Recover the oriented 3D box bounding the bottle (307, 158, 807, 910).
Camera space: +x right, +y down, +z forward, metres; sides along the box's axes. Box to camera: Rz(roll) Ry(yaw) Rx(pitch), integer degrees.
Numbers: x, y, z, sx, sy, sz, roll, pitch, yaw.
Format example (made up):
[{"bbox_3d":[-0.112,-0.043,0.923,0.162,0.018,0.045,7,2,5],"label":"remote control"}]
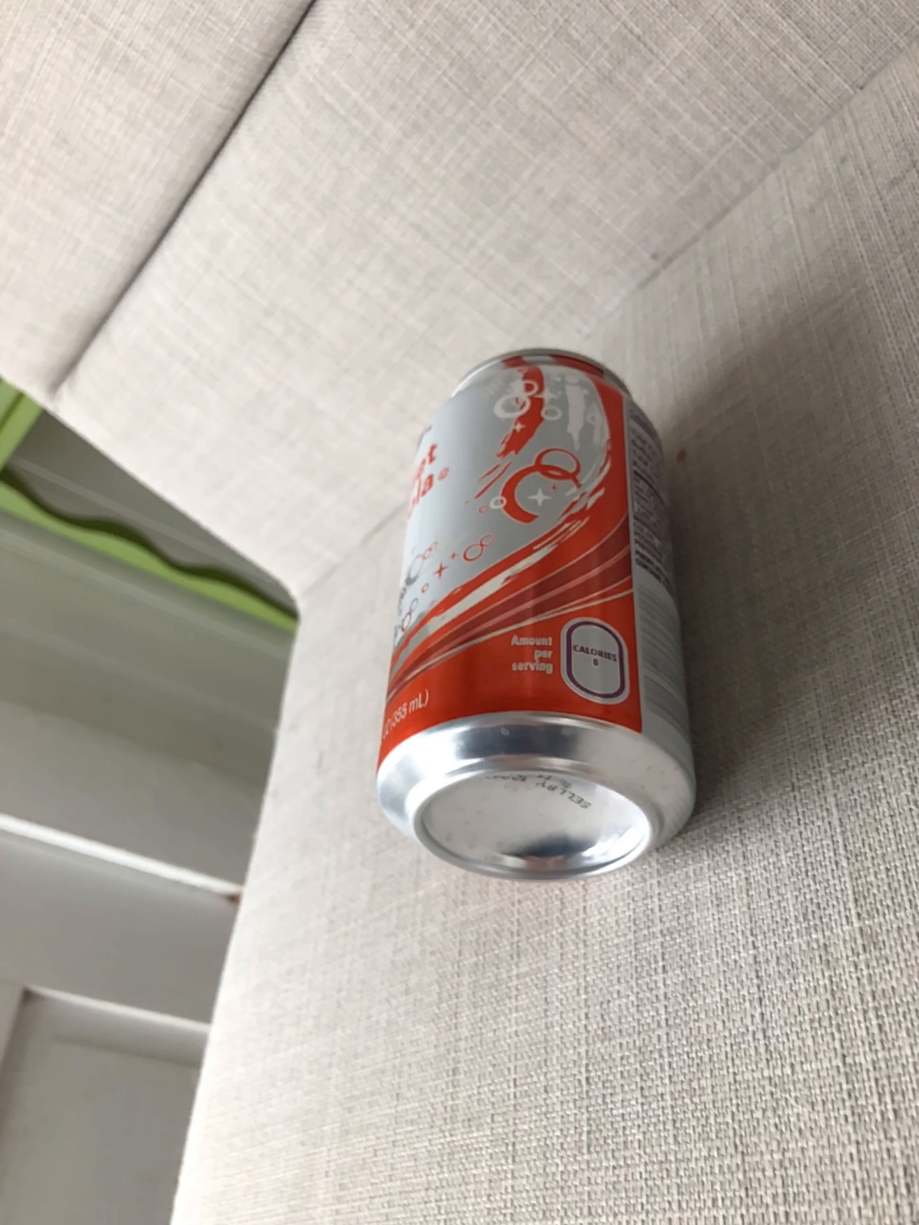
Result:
[{"bbox_3d":[0.018,-0.021,0.239,0.070,0.062,0.150,-37,39,39],"label":"bottle"}]
